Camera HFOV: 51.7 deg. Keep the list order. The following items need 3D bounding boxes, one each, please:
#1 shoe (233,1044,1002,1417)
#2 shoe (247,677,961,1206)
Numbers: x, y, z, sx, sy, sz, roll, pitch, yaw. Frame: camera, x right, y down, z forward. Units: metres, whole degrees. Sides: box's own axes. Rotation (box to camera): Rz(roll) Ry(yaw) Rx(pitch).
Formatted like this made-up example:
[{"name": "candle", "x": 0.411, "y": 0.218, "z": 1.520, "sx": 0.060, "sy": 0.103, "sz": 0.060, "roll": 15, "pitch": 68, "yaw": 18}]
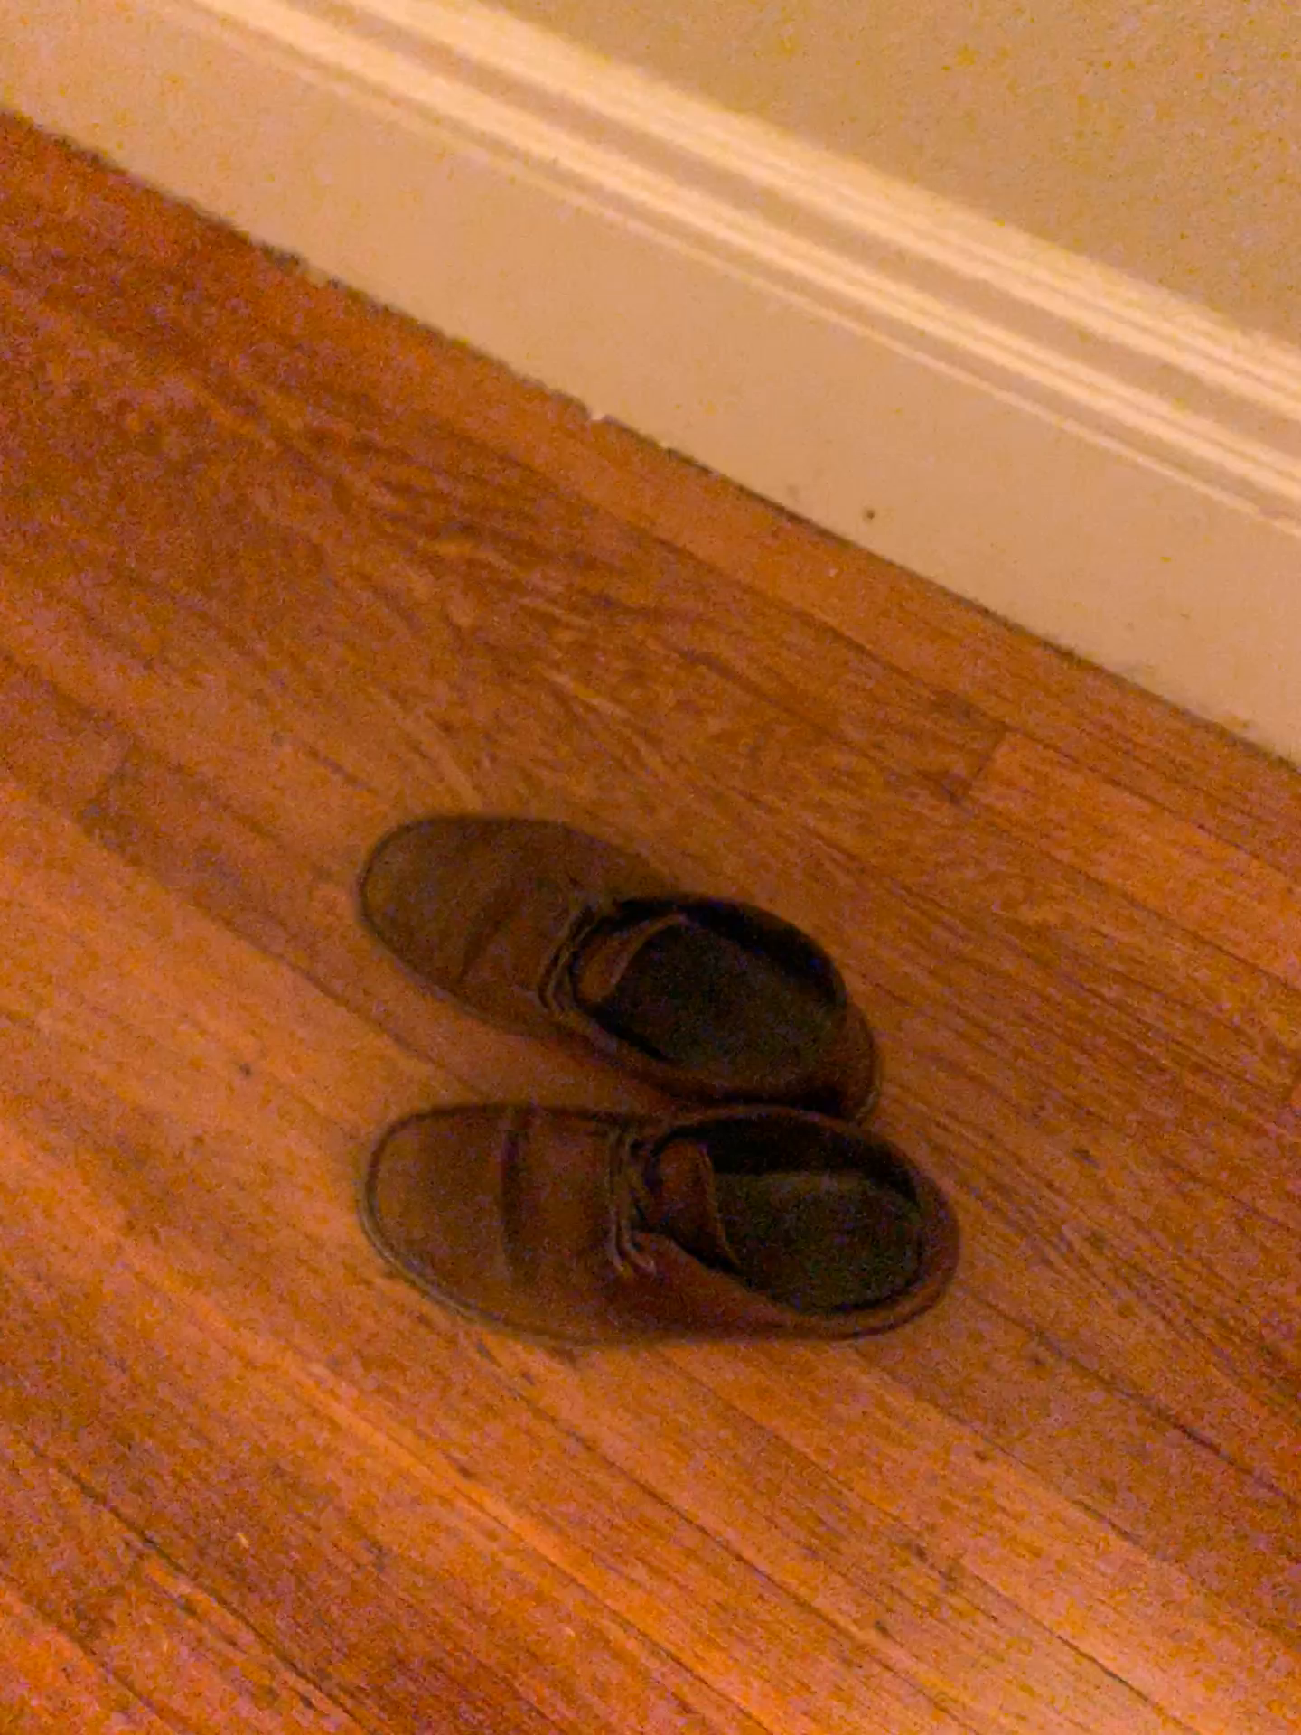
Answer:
[{"name": "shoe", "x": -0.007, "y": 0.157, "z": 0.593, "sx": 0.300, "sy": 0.120, "sz": 0.120, "roll": 3, "pitch": 73, "yaw": 7}, {"name": "shoe", "x": -0.019, "y": 0.038, "z": 0.641, "sx": 0.290, "sy": 0.120, "sz": 0.120, "roll": 24, "pitch": 77, "yaw": 13}]
